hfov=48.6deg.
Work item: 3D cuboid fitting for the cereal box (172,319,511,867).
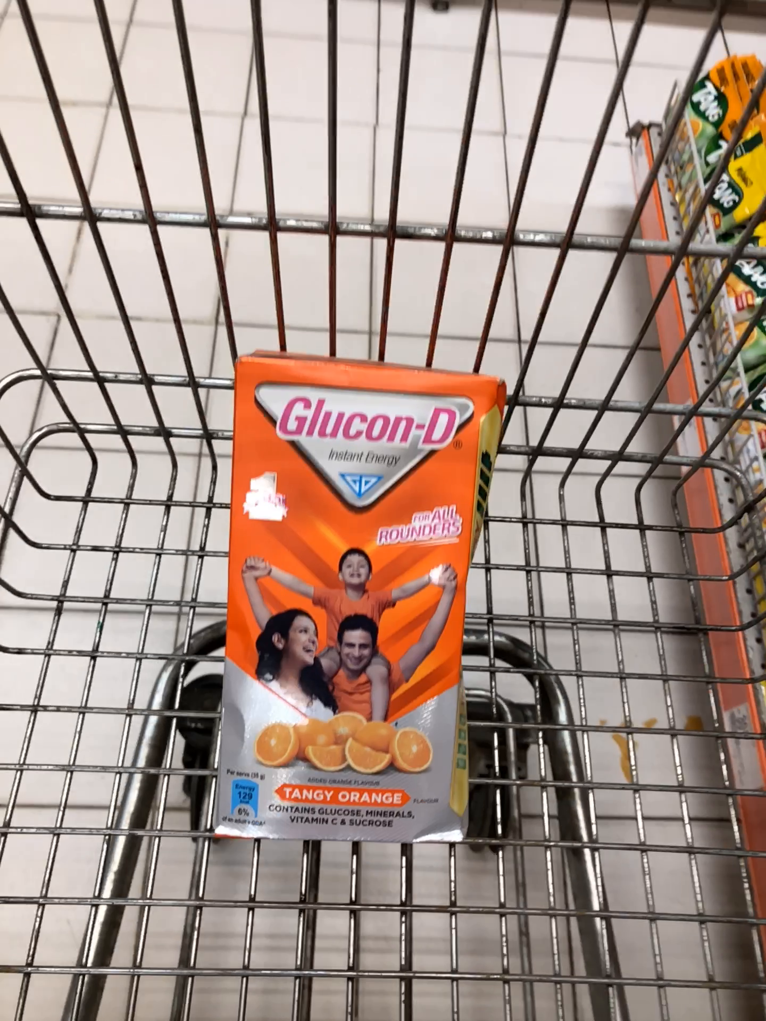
[{"bbox_3d":[-0.019,0.032,0.383,0.120,0.100,0.210,4,93,-3],"label":"cereal box"}]
